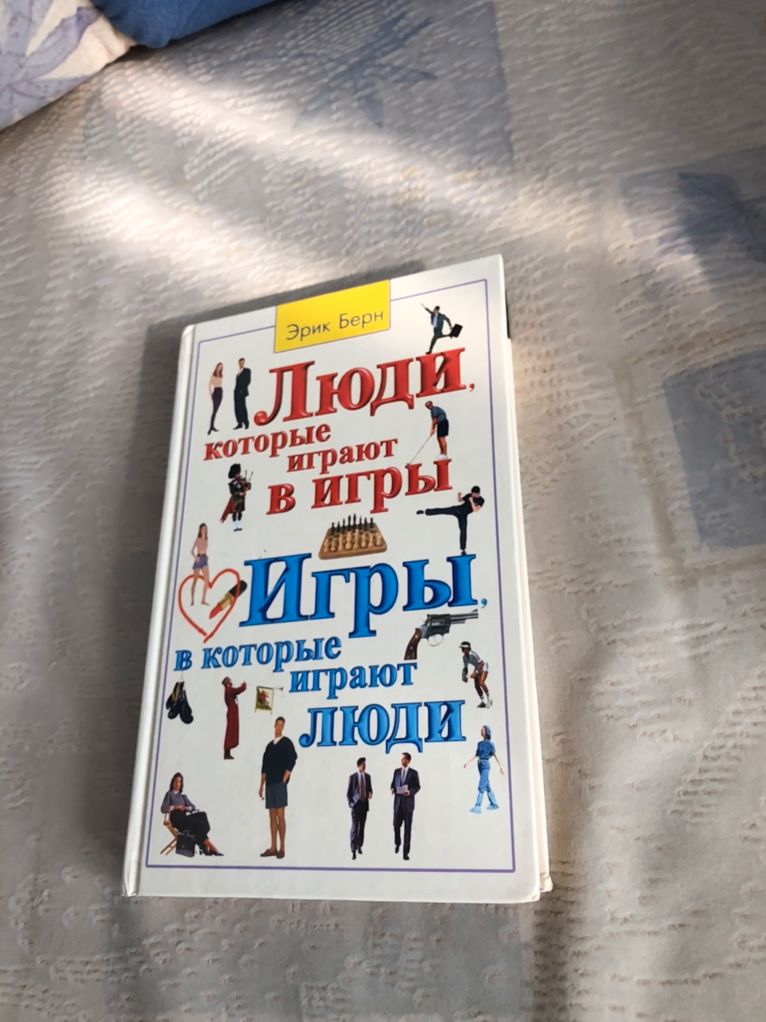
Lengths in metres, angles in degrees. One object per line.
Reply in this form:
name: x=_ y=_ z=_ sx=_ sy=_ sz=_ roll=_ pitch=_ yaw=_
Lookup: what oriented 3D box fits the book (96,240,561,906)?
book: x=-0.018 y=0.016 z=0.290 sx=0.135 sy=0.030 sz=0.211 roll=-7 pitch=67 yaw=17
